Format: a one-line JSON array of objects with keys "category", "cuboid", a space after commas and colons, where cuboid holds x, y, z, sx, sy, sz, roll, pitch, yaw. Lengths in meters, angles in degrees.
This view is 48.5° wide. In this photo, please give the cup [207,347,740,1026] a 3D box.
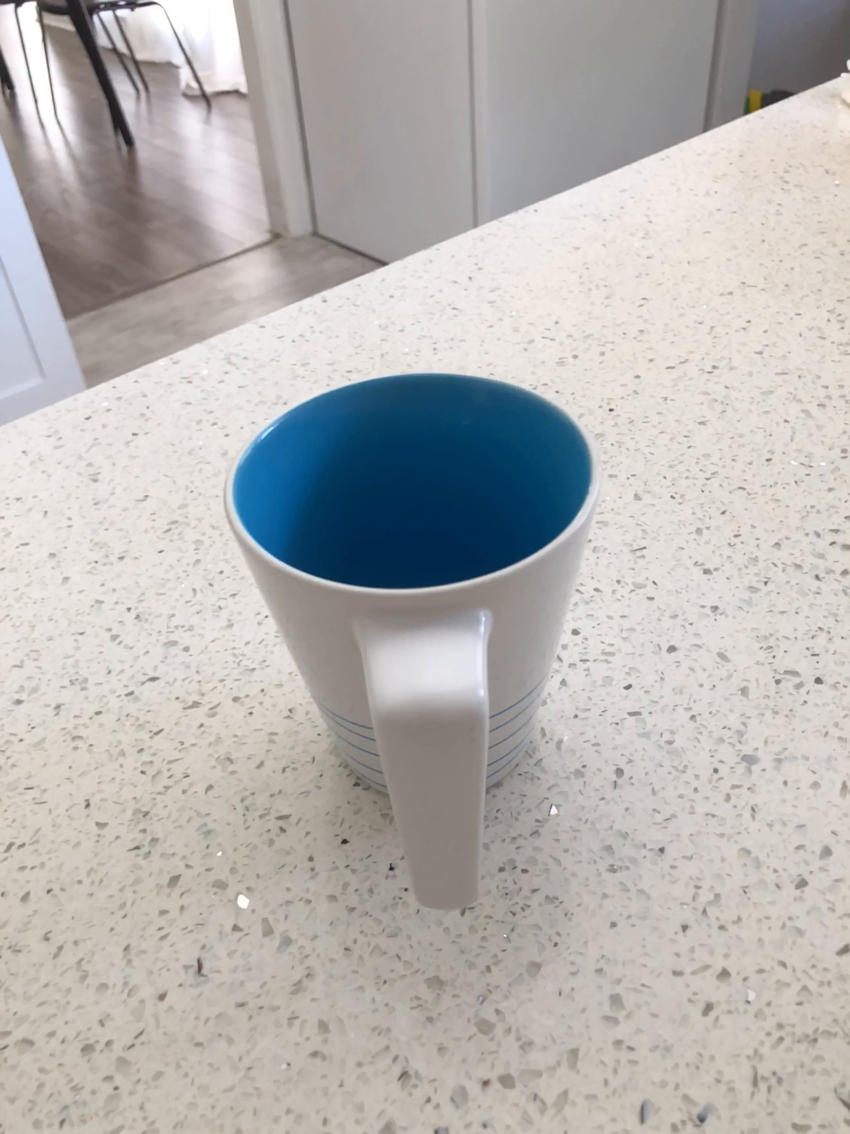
[{"category": "cup", "cuboid": [0.003, 0.021, 0.230, 0.080, 0.090, 0.121, -13, 40, -10]}]
